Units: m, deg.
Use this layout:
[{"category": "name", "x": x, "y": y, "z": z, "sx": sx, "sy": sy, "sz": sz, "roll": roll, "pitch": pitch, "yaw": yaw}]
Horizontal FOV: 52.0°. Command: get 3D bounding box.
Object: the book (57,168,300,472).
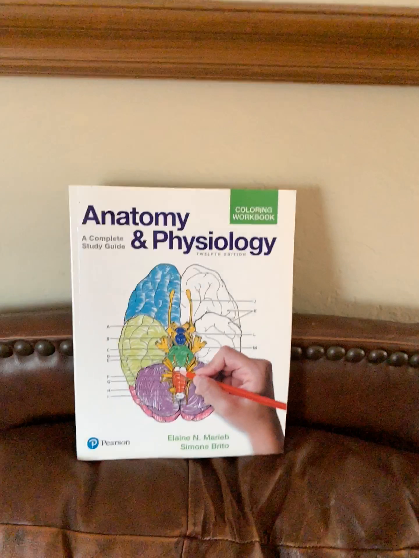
[{"category": "book", "x": -0.026, "y": 0.040, "z": 0.439, "sx": 0.220, "sy": 0.290, "sz": 0.060, "roll": -1, "pitch": 8, "yaw": -3}]
